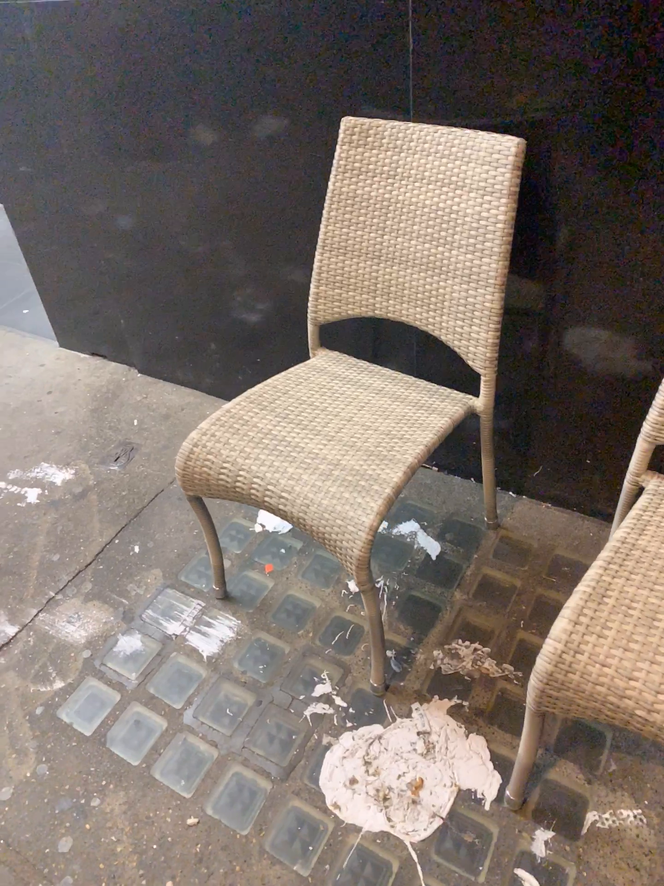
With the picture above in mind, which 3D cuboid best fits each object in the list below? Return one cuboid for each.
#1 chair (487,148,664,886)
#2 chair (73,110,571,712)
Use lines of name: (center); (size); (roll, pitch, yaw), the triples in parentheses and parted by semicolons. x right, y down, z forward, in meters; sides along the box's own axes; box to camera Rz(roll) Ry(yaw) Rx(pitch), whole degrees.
chair: (0.666, 0.163, 0.910); (0.583, 0.901, 0.603); (23, 39, 32)
chair: (0.045, -0.080, 1.273); (0.482, 0.831, 0.614); (21, 47, 30)
